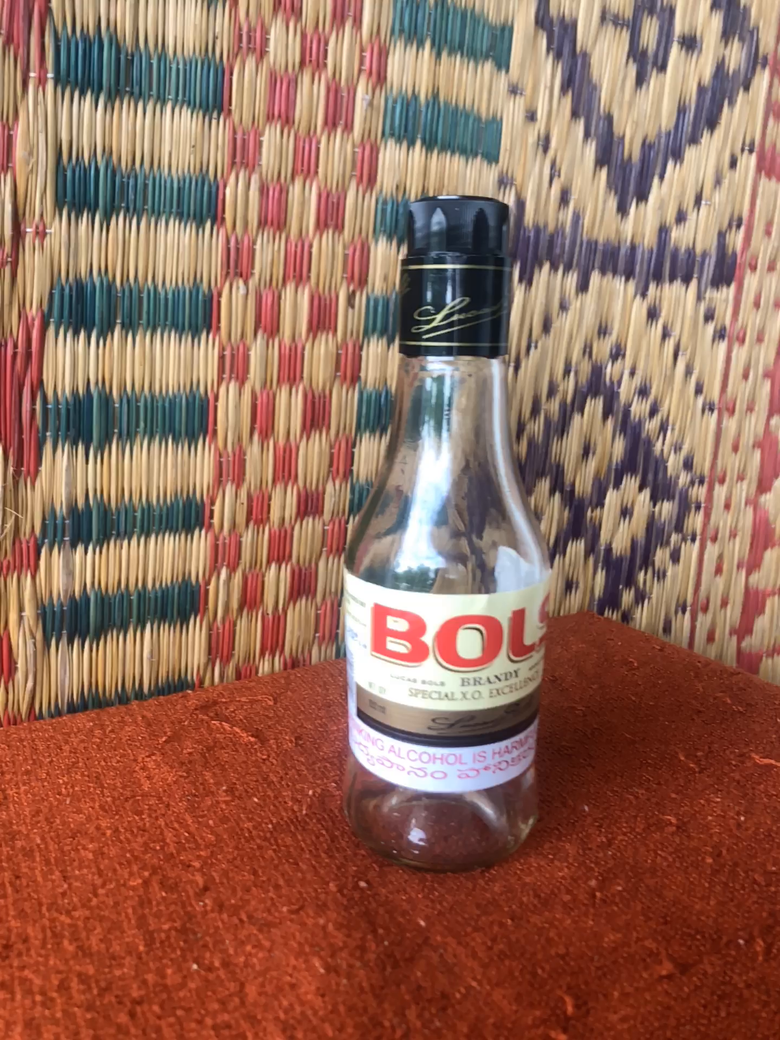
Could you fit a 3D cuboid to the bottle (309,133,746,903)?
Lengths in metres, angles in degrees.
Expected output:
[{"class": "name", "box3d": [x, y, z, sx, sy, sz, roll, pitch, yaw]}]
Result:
[{"class": "bottle", "box3d": [0.027, -0.002, 0.217, 0.070, 0.159, 0.060, -4, 16, -28]}]
